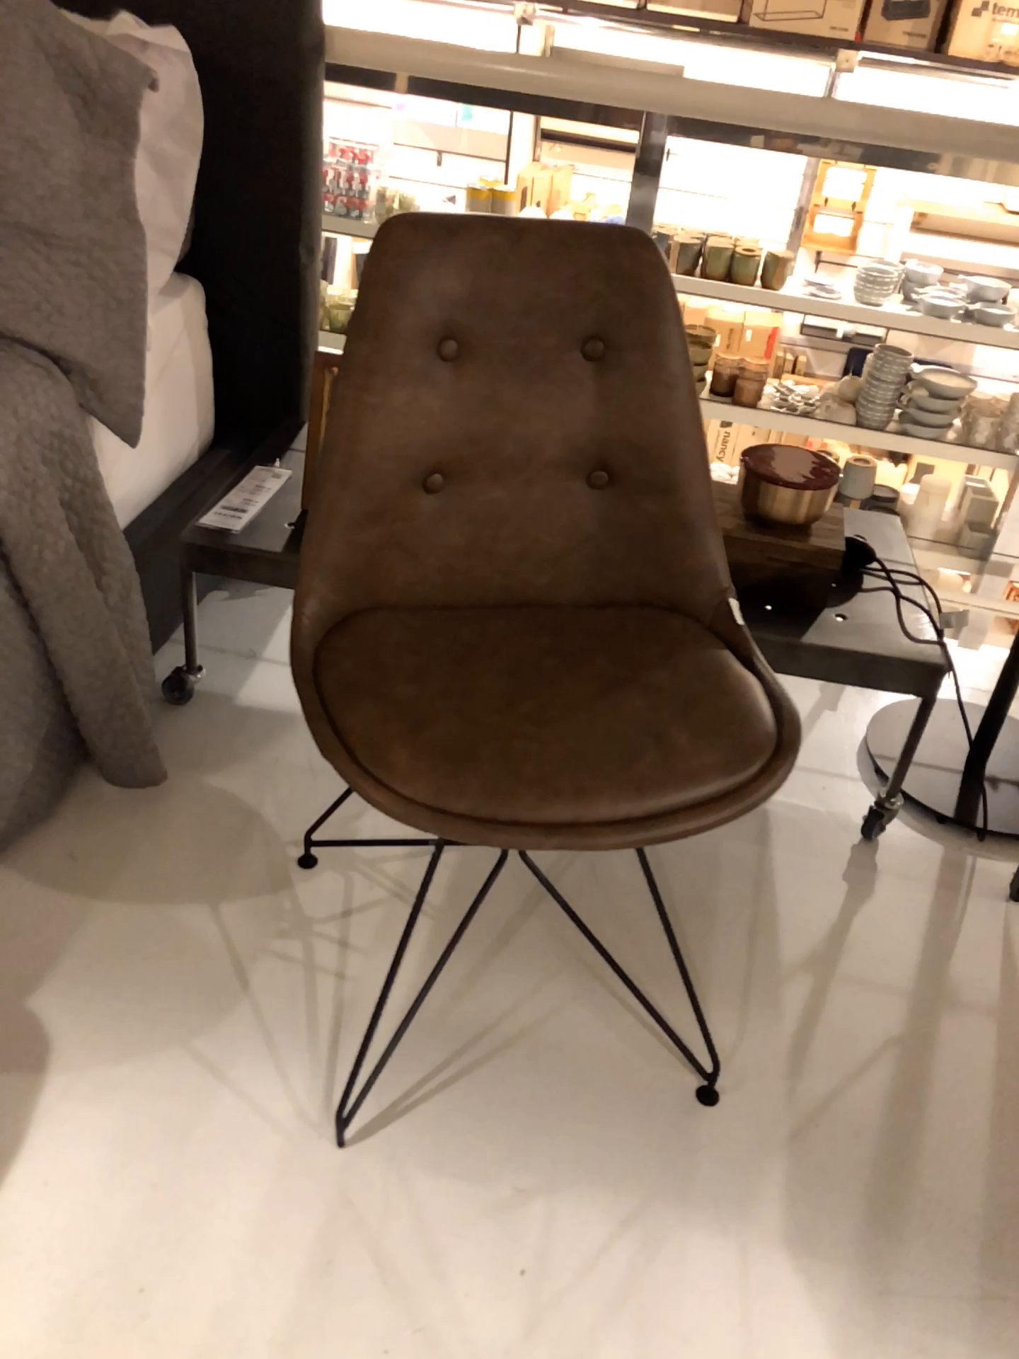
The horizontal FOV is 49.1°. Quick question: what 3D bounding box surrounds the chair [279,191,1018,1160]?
[{"bbox_3d":[0.031,-0.015,1.136,0.510,0.754,0.554,-1,34,-13],"label":"chair"}]
